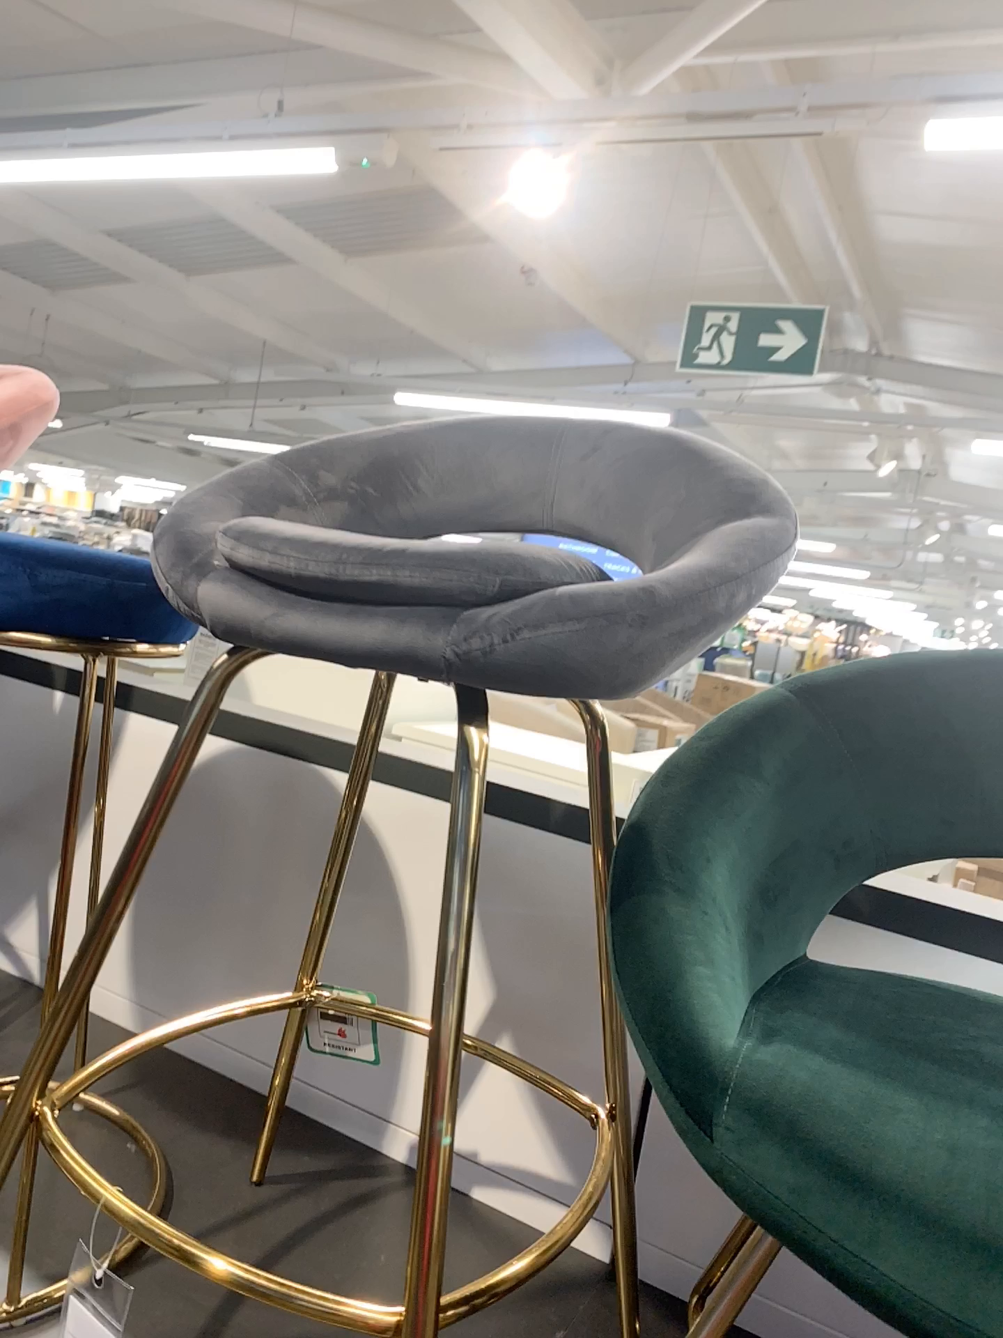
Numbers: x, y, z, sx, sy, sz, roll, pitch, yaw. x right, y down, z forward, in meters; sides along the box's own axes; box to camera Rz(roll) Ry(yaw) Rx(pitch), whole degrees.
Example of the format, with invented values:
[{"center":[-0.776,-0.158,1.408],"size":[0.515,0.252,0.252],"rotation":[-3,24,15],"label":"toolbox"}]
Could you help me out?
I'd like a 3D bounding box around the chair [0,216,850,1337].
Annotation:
[{"center":[-0.083,0.168,0.838],"size":[0.487,0.873,0.474],"rotation":[12,3,26],"label":"chair"}]
